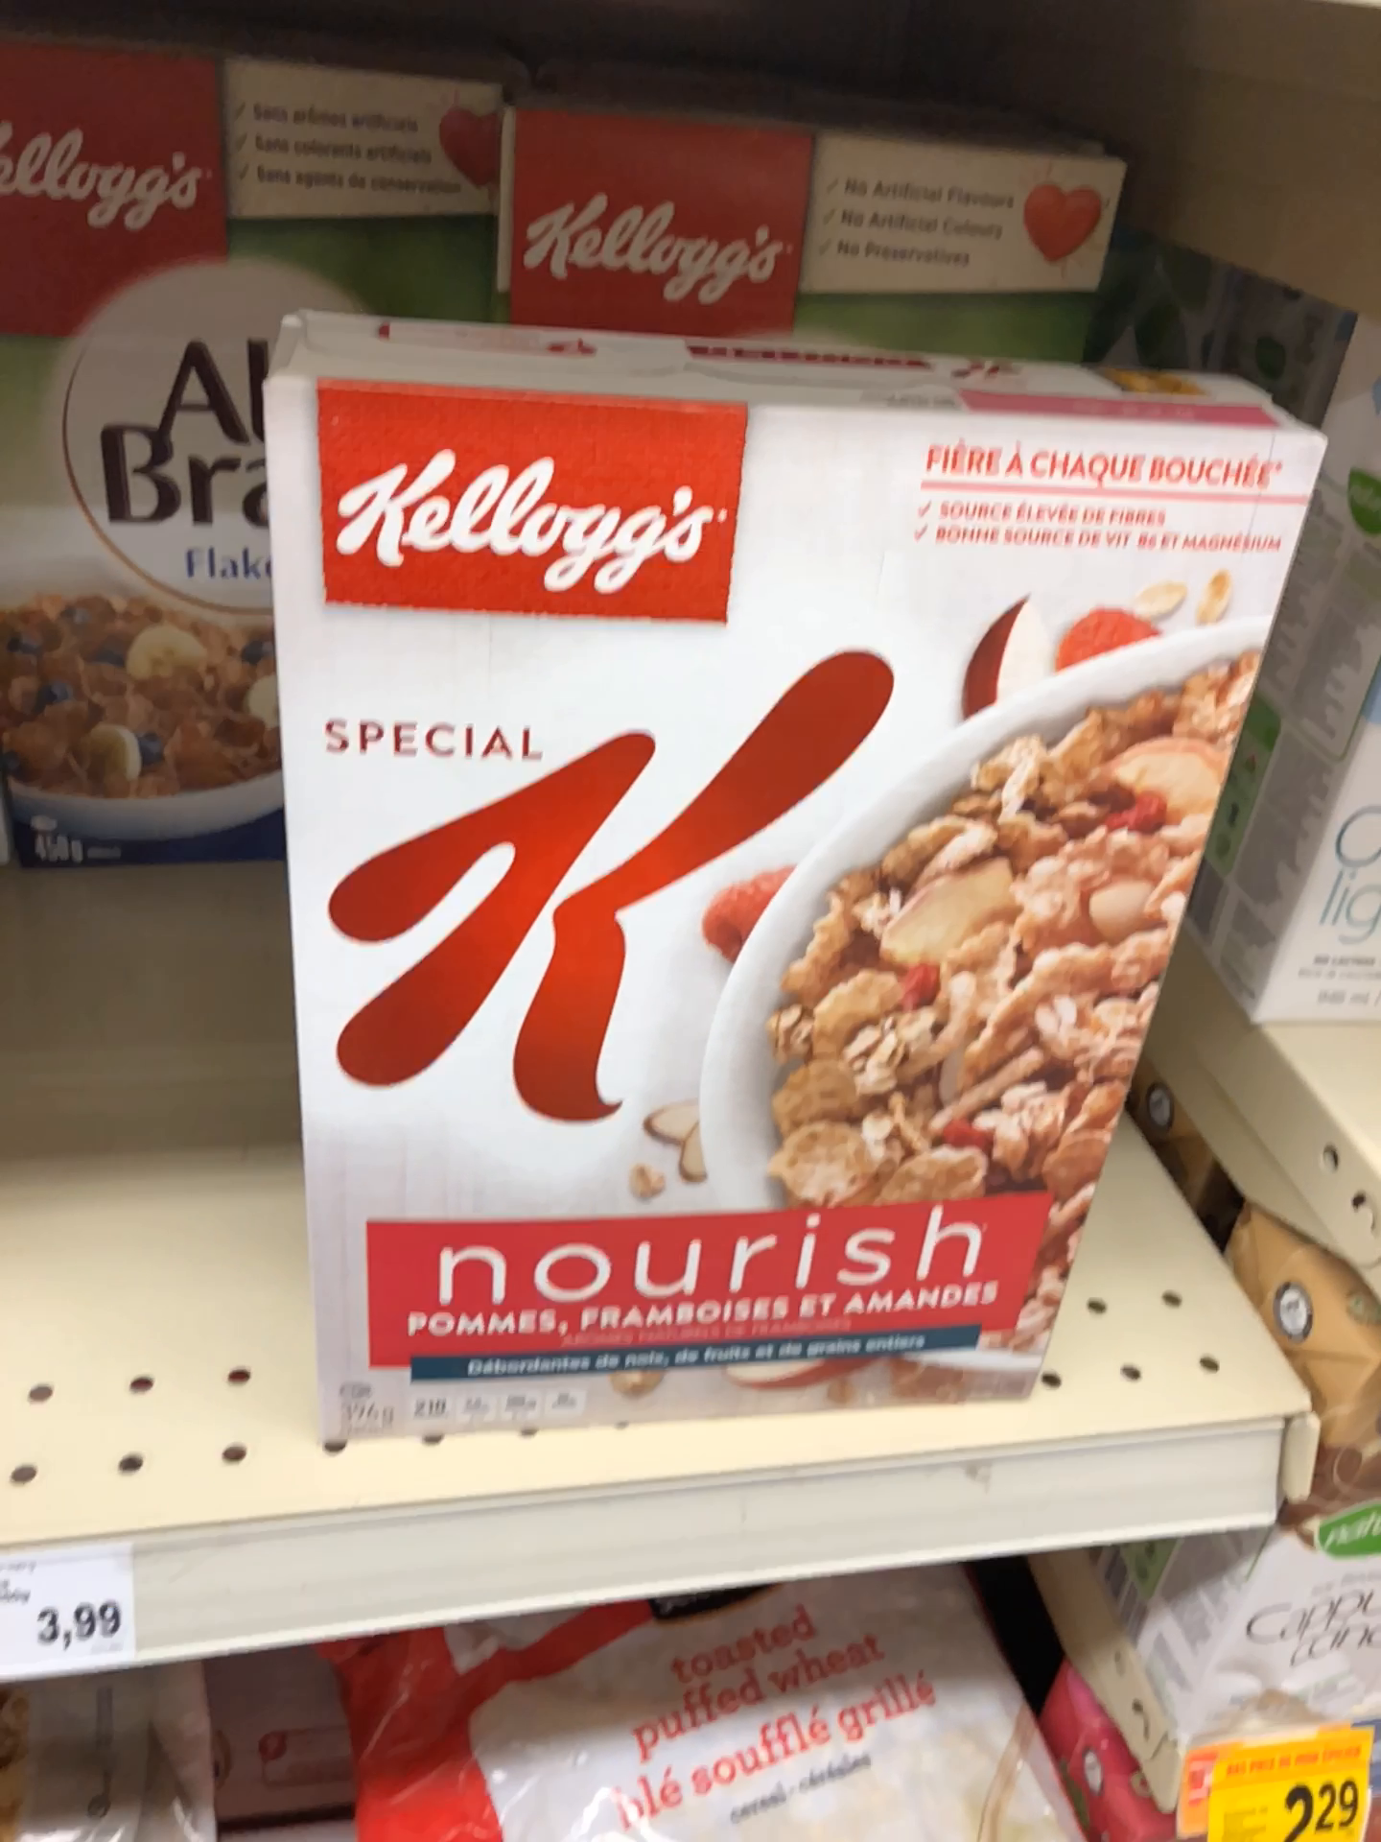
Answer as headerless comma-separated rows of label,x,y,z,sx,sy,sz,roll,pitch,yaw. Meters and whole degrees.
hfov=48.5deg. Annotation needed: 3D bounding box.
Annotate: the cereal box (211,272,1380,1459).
cereal box,0.011,0.004,0.334,0.200,0.248,0.060,0,32,-10
